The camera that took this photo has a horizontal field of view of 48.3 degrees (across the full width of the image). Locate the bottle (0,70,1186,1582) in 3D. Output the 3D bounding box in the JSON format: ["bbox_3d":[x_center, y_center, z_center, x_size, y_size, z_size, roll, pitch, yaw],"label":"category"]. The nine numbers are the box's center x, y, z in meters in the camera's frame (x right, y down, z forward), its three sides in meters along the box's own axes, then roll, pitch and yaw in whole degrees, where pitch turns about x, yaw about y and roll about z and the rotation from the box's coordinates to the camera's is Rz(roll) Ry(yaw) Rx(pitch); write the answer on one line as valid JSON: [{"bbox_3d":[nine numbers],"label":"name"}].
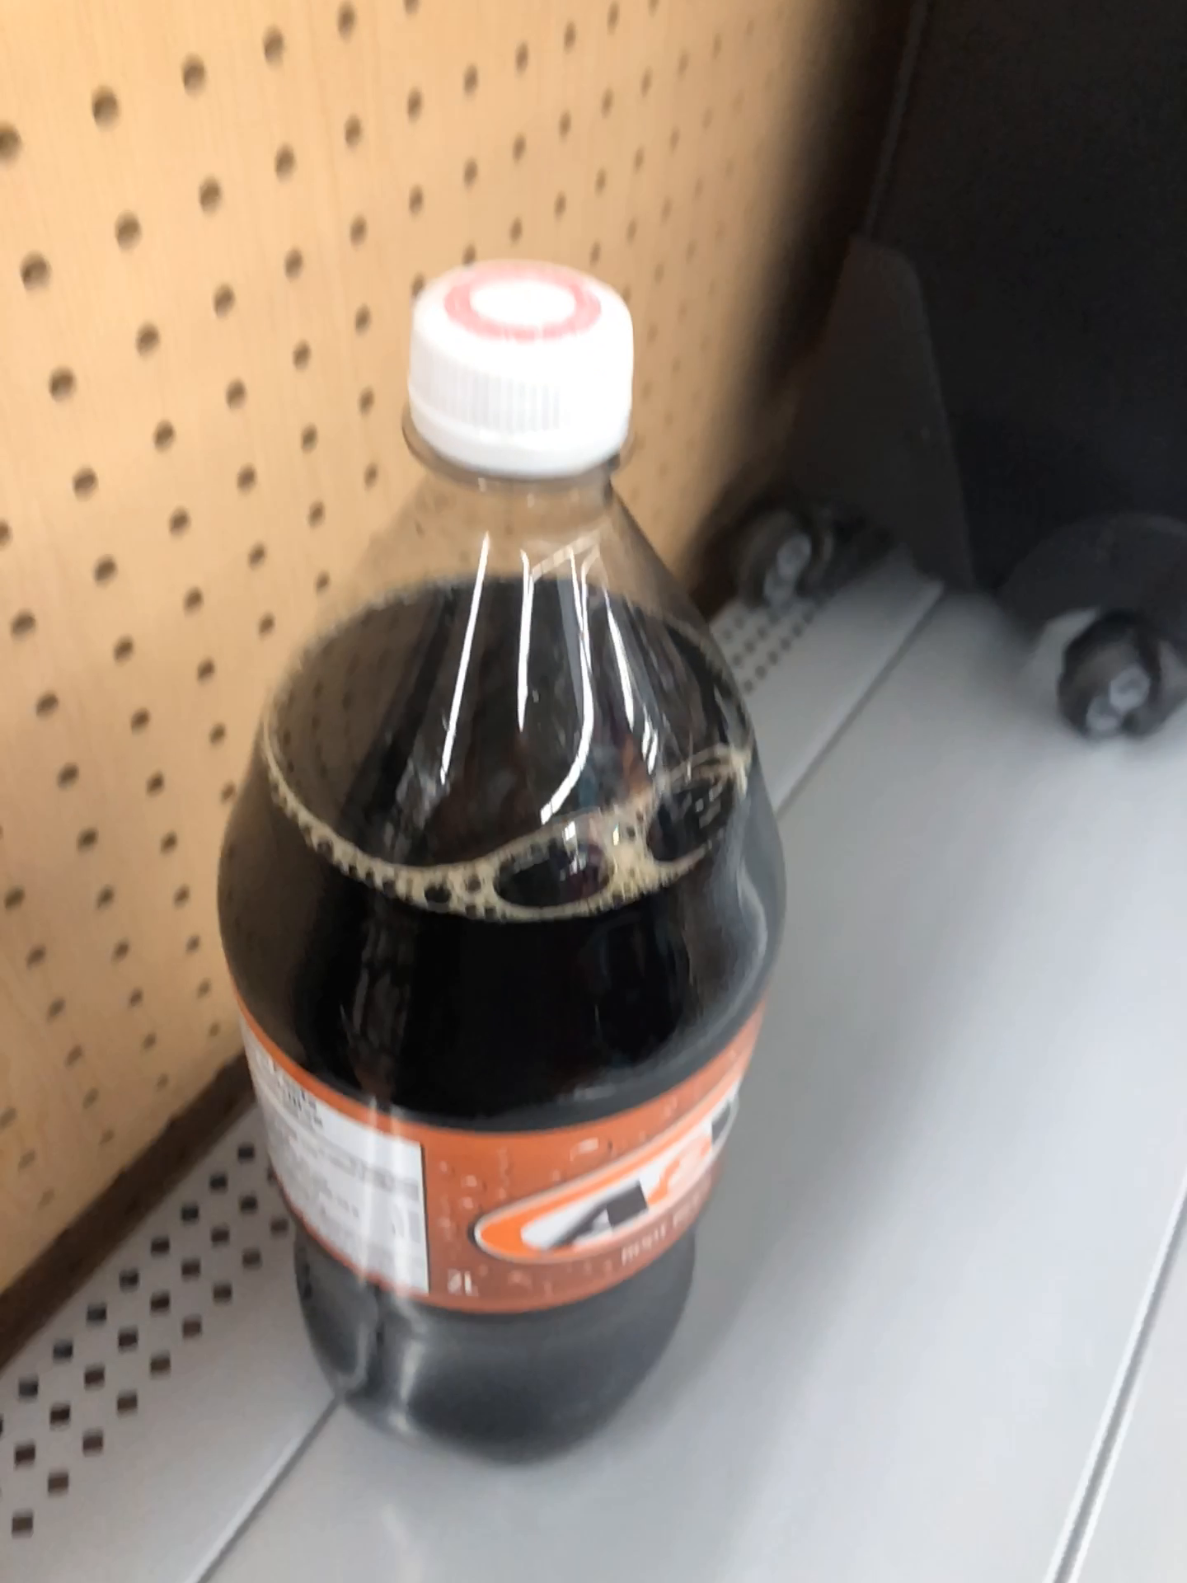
[{"bbox_3d":[-0.016,0.044,0.280,0.120,0.308,0.120,3,46,-3],"label":"bottle"}]
